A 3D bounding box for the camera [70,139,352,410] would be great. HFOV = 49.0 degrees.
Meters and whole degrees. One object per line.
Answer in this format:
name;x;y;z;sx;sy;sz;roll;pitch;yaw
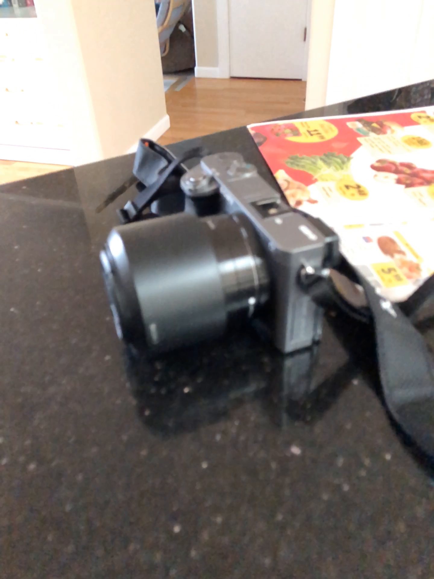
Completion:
camera;-0.012;-0.020;0.272;0.110;0.070;0.131;-16;40;-15
